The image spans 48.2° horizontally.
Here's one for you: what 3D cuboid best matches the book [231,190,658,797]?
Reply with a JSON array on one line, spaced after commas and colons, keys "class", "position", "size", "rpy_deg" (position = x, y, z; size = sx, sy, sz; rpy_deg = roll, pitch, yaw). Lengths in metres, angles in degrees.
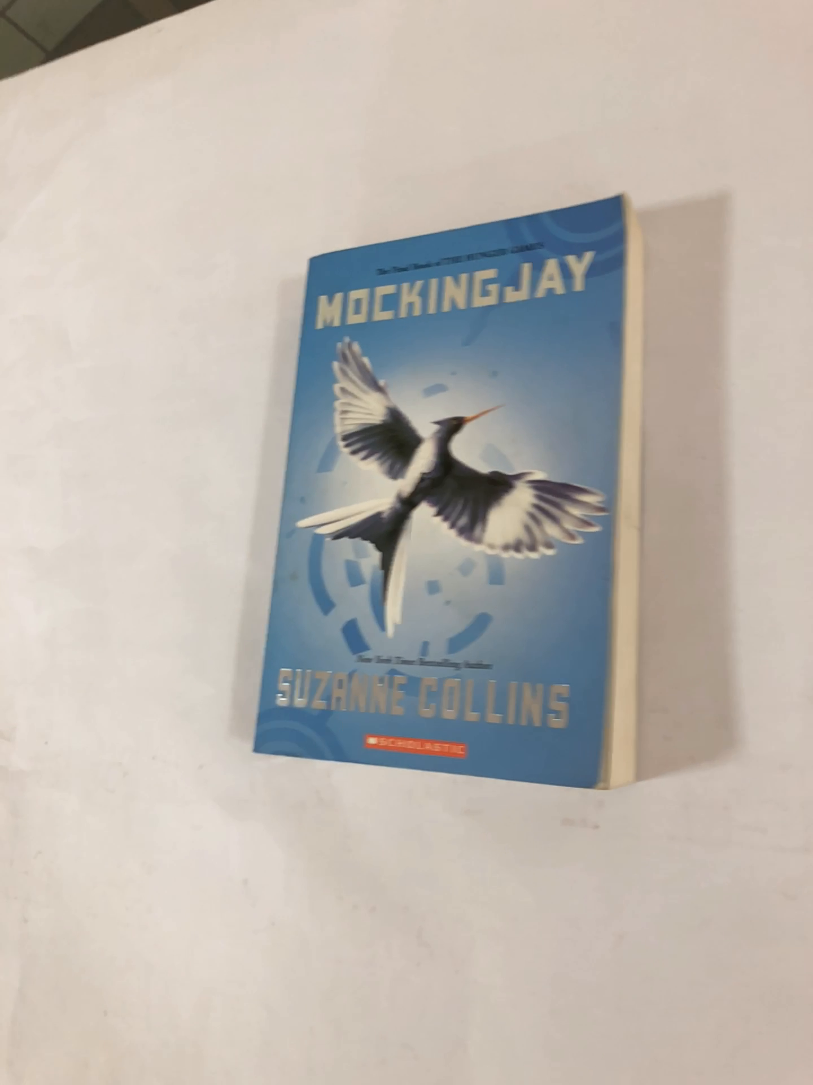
[{"class": "book", "position": [0.014, -0.016, 0.319], "size": [0.139, 0.029, 0.190], "rpy_deg": [-2, 77, 26]}]
